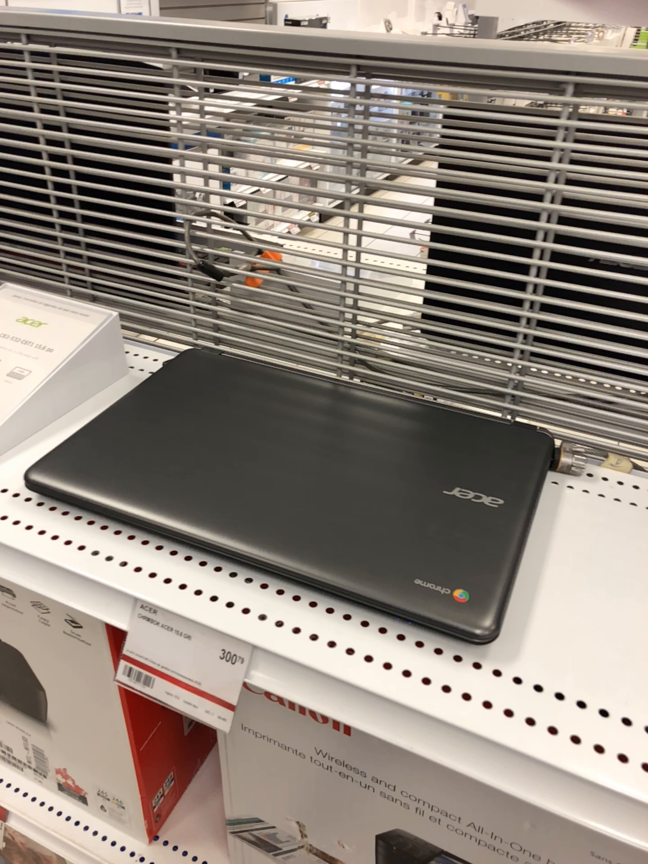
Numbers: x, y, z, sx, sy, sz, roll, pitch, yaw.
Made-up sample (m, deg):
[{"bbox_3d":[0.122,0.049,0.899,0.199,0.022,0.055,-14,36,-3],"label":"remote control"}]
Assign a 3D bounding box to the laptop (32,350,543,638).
[{"bbox_3d":[-0.022,0.019,0.589,0.367,0.001,0.238,15,35,21],"label":"laptop"}]
